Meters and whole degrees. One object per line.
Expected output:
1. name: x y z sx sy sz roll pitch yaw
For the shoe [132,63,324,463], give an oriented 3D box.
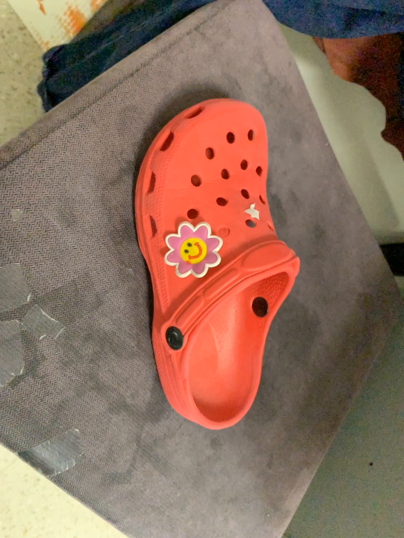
1. shoe: 0.016 -0.004 0.278 0.093 0.081 0.208 -4 96 -36
